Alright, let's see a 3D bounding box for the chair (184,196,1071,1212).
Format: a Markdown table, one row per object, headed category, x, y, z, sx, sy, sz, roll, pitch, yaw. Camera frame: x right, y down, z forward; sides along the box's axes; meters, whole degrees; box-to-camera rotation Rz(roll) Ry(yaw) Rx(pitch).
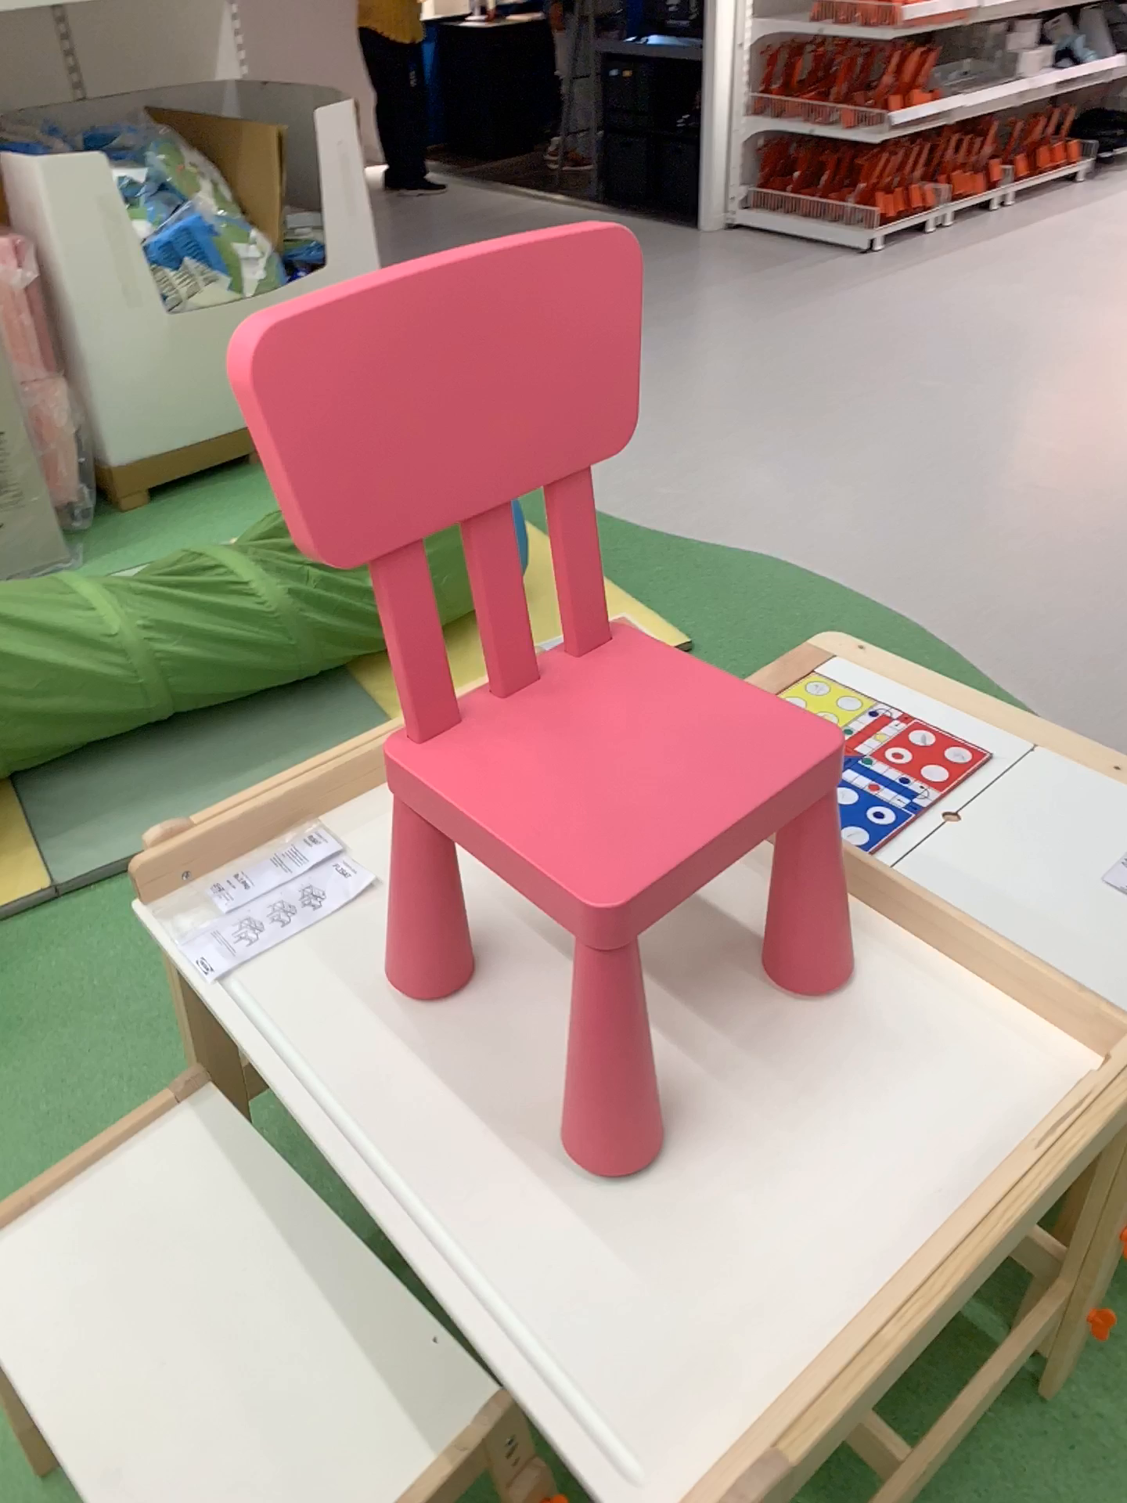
| category | x | y | z | sx | sy | sz | roll | pitch | yaw |
| --- | --- | --- | --- | --- | --- | --- | --- | --- | --- |
| chair | 0.048 | -0.062 | 0.929 | 0.421 | 0.598 | 0.401 | -30 | 44 | -31 |
